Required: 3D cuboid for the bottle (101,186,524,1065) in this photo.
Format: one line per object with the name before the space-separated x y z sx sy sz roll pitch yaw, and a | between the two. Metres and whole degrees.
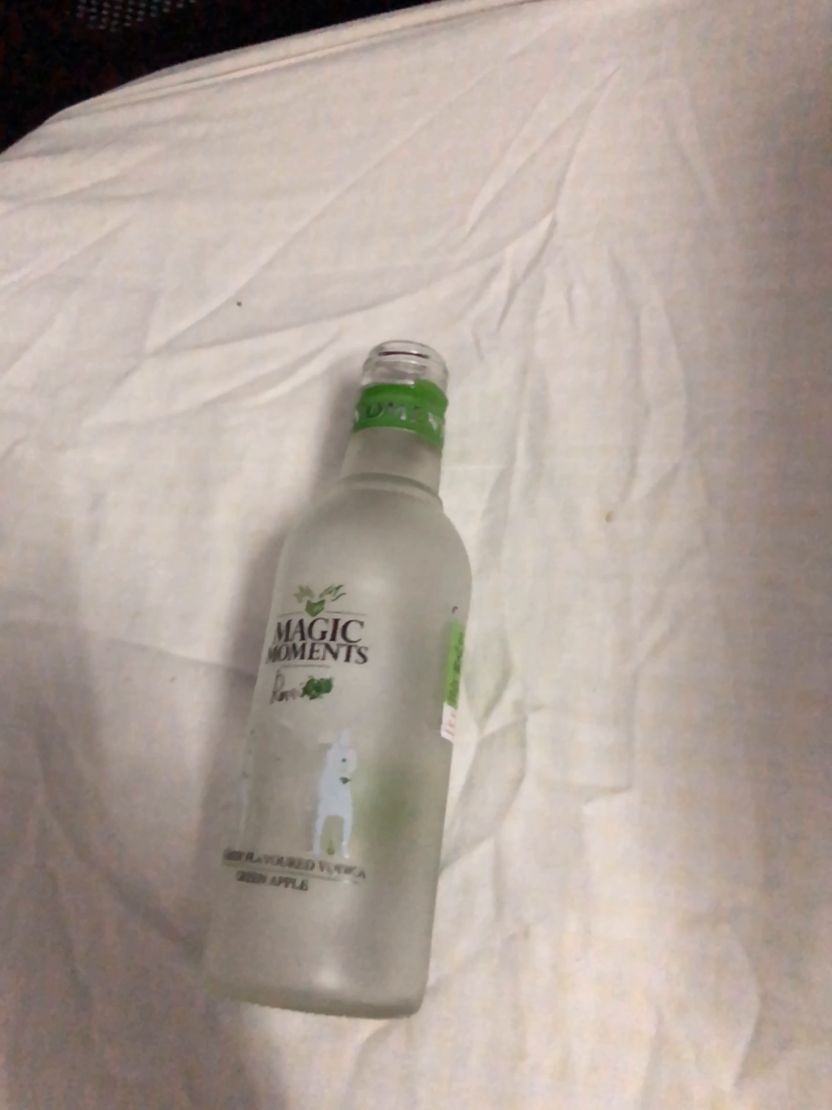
bottle | -0.015 0.011 0.222 0.060 0.060 0.180 1 73 18
